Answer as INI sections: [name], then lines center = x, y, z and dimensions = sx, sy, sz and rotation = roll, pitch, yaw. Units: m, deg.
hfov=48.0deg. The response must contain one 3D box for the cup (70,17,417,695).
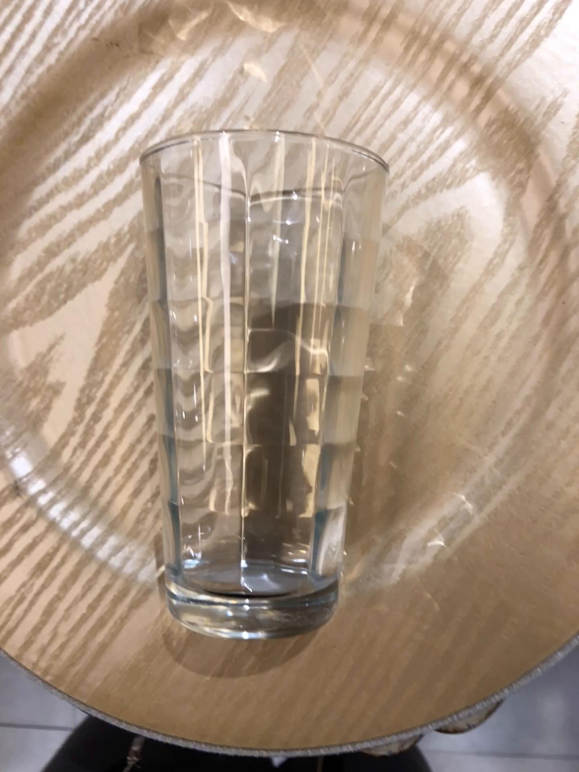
[cup]
center = -0.009, -0.009, 0.218
dimensions = 0.090, 0.080, 0.180
rotation = 2, 90, 7
